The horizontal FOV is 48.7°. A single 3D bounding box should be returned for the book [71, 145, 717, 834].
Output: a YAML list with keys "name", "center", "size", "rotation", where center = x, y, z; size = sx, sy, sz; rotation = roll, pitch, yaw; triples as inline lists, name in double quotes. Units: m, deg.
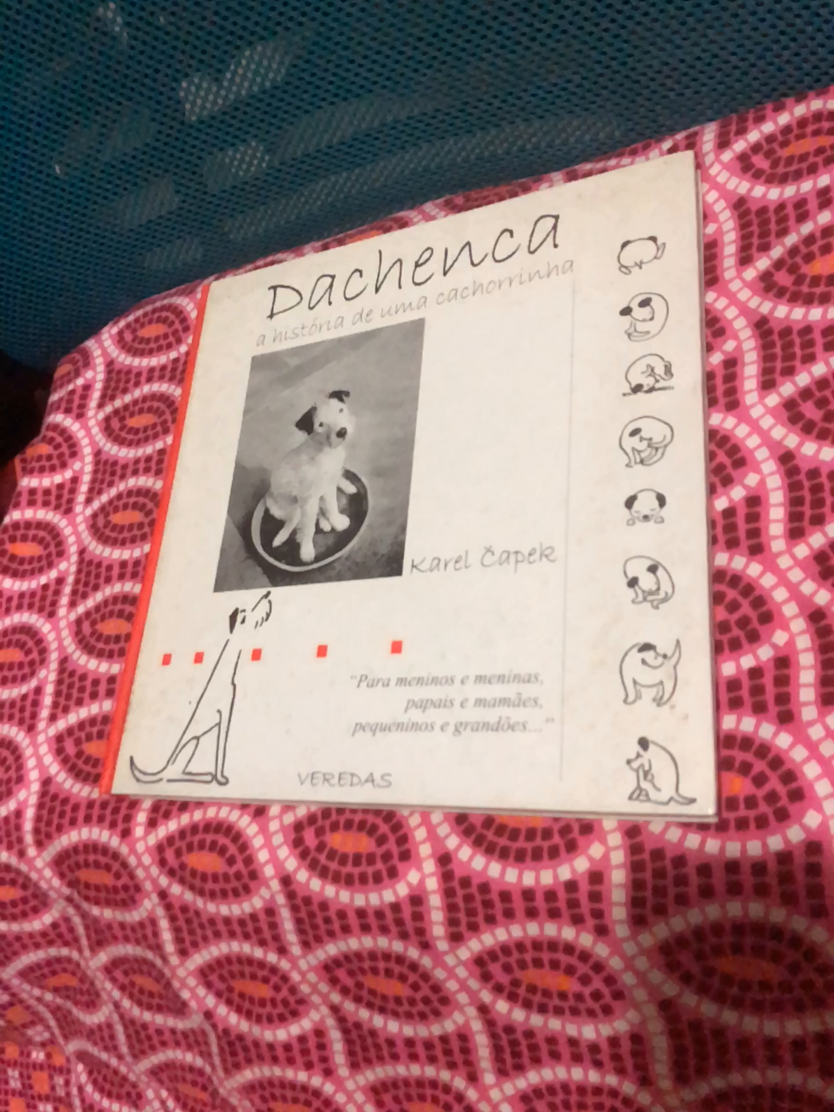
- name: "book"
  center: [-0.009, -0.022, 0.318]
  size: [0.206, 0.027, 0.216]
  rotation: [-6, 65, 26]
